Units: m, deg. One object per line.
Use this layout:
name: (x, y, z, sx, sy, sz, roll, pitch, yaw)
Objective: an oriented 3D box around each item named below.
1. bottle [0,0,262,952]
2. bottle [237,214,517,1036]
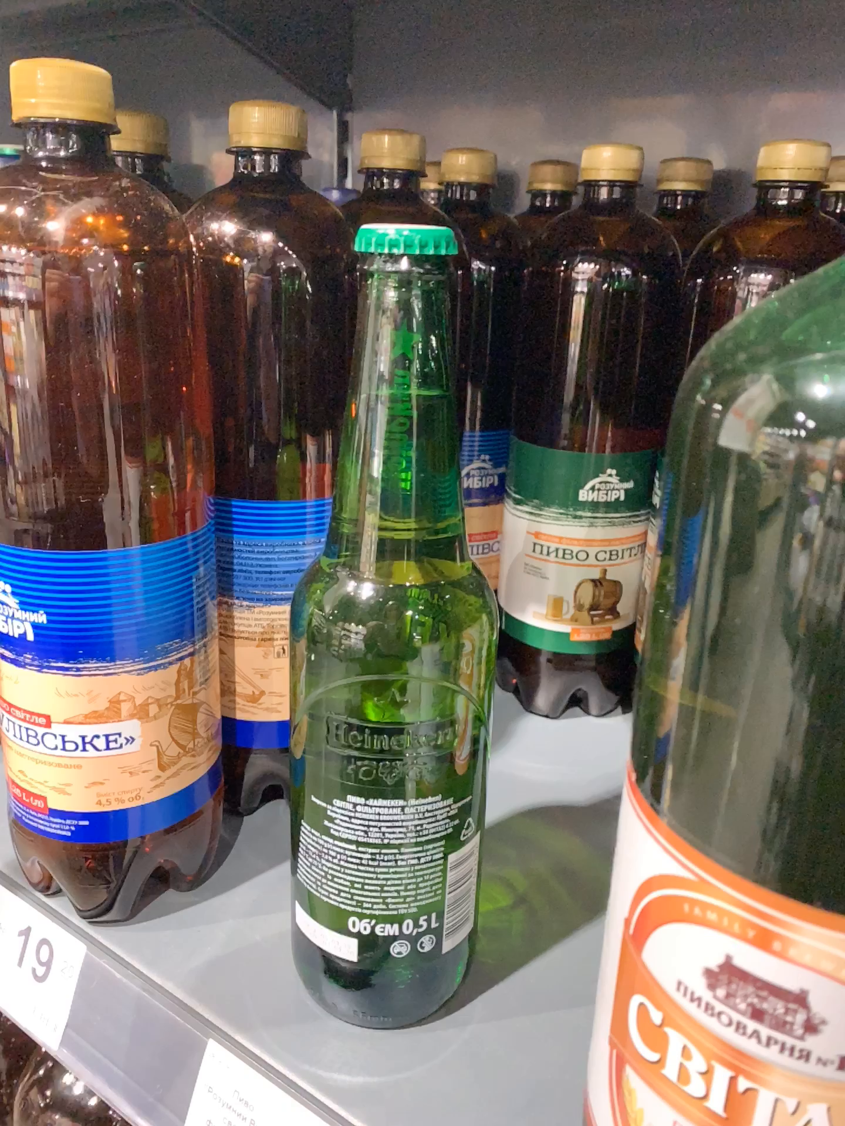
bottle: (-0.115, -0.019, 0.304, 0.080, 0.288, 0.074, 2, 20, -1)
bottle: (-0.012, 0.025, 0.276, 0.066, 0.248, 0.062, 2, 20, -1)
